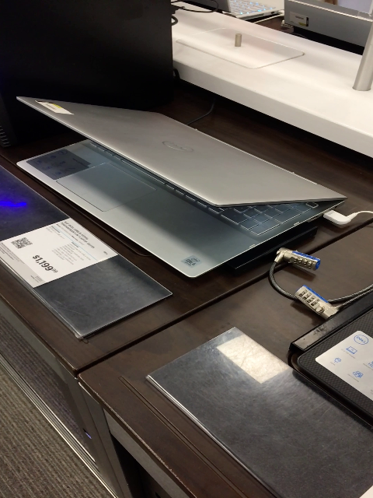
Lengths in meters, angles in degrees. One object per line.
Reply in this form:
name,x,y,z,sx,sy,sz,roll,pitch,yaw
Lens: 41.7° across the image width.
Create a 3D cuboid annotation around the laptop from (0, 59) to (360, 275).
laptop,-0.030,-0.134,0.657,0.244,0.108,0.368,-33,51,-31
